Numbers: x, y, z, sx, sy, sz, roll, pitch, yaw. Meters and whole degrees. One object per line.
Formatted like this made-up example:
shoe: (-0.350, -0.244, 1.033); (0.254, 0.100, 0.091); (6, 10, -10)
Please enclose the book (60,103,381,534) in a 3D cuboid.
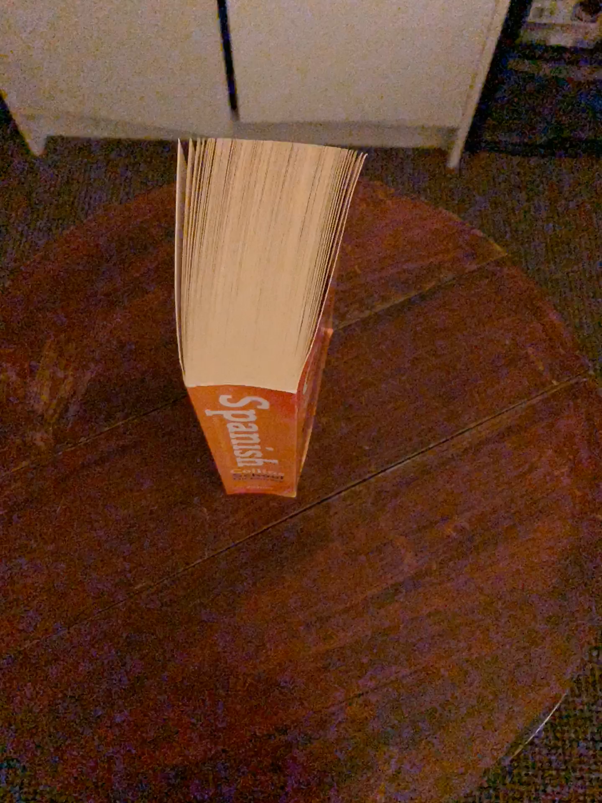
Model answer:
book: (-0.016, -0.026, 0.292); (0.080, 0.149, 0.141); (7, 70, 13)
